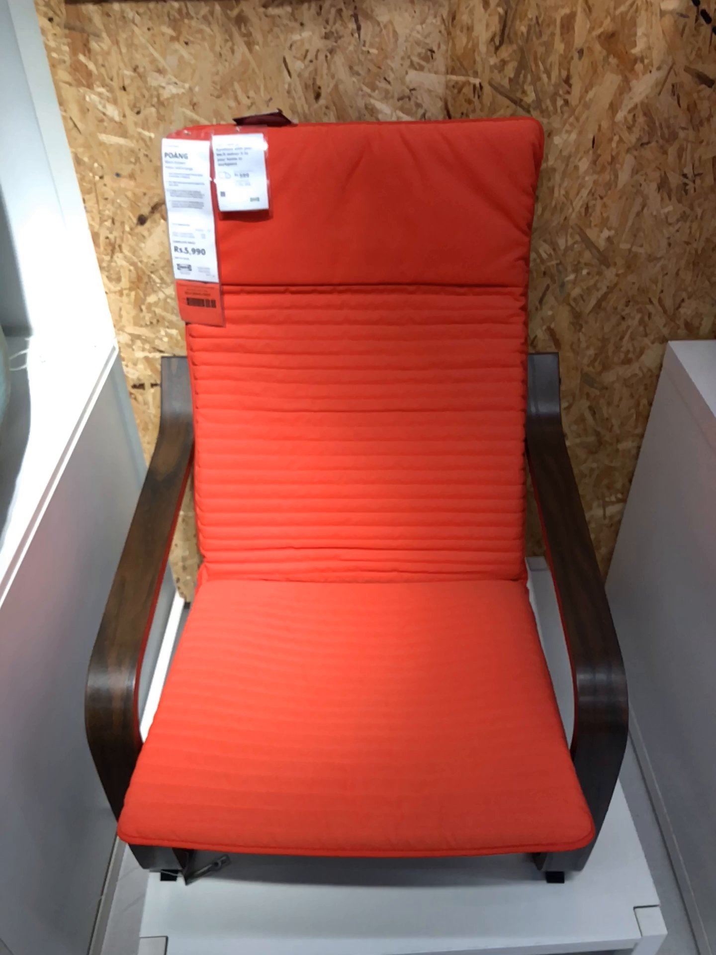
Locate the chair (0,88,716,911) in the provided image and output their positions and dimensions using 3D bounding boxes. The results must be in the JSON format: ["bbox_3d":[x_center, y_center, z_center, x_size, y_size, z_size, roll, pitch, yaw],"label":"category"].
[{"bbox_3d":[-0.010,0.023,1.162,0.750,0.894,0.795,-1,39,1],"label":"chair"}]
